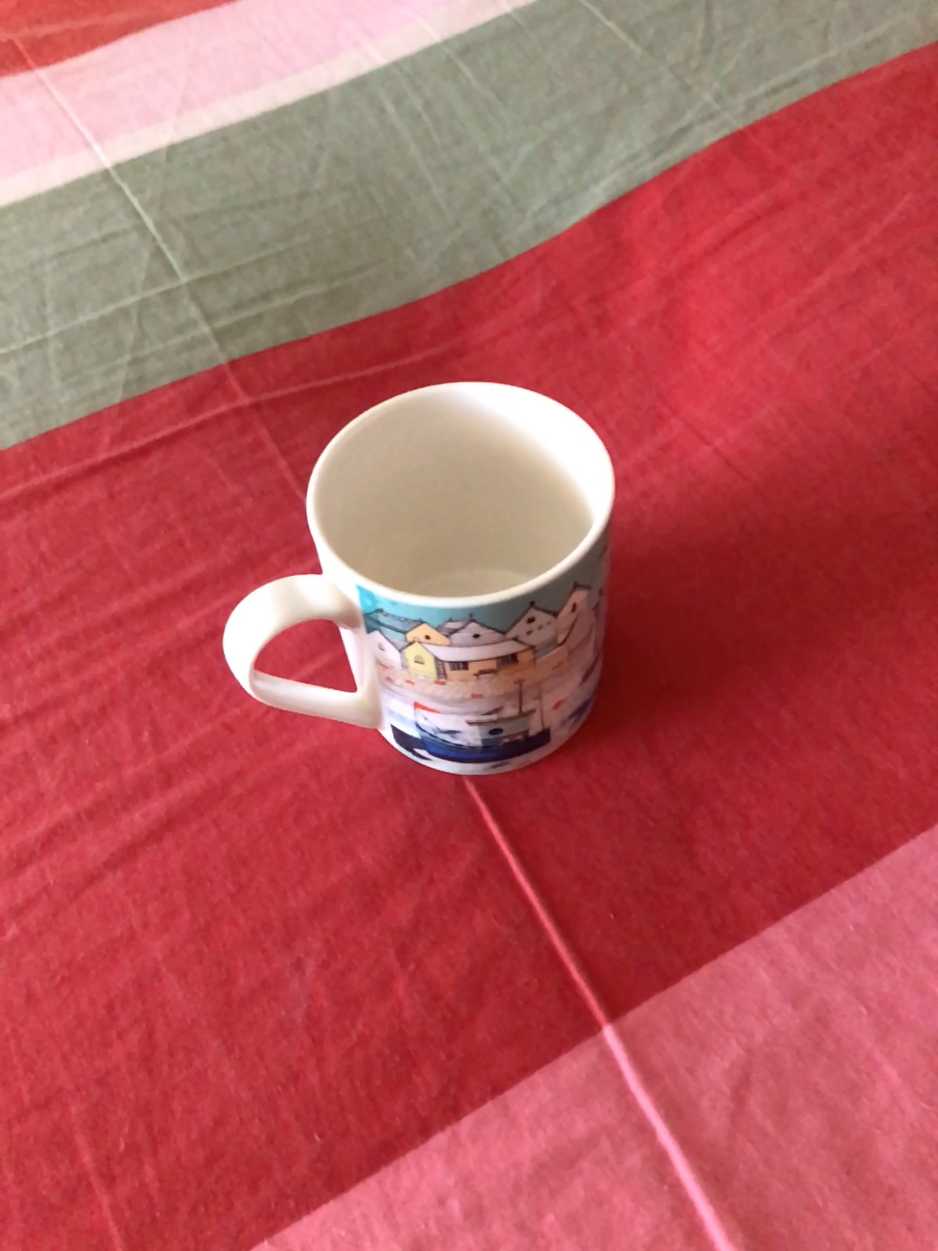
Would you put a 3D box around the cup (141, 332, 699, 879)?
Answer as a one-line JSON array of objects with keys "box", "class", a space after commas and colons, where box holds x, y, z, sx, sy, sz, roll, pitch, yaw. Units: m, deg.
[{"box": [-0.013, -0.008, 0.306, 0.120, 0.080, 0.094, -24, 55, -12], "class": "cup"}]
